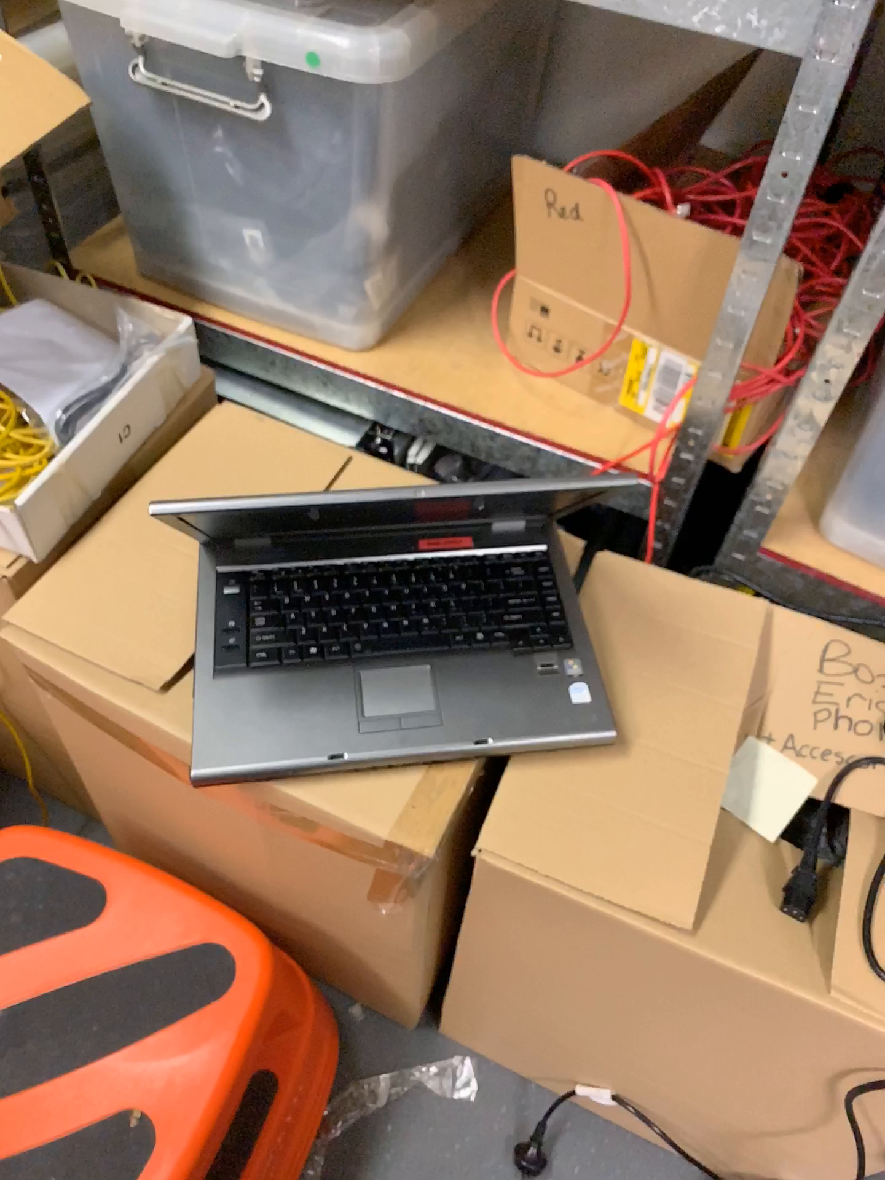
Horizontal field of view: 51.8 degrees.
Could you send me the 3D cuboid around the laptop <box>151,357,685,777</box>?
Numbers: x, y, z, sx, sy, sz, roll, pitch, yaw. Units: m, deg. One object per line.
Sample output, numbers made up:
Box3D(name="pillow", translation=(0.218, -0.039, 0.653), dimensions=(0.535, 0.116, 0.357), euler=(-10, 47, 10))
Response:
Box3D(name="laptop", translation=(-0.036, -0.023, 0.755), dimensions=(0.352, 0.203, 0.254), euler=(-4, 51, -7))
